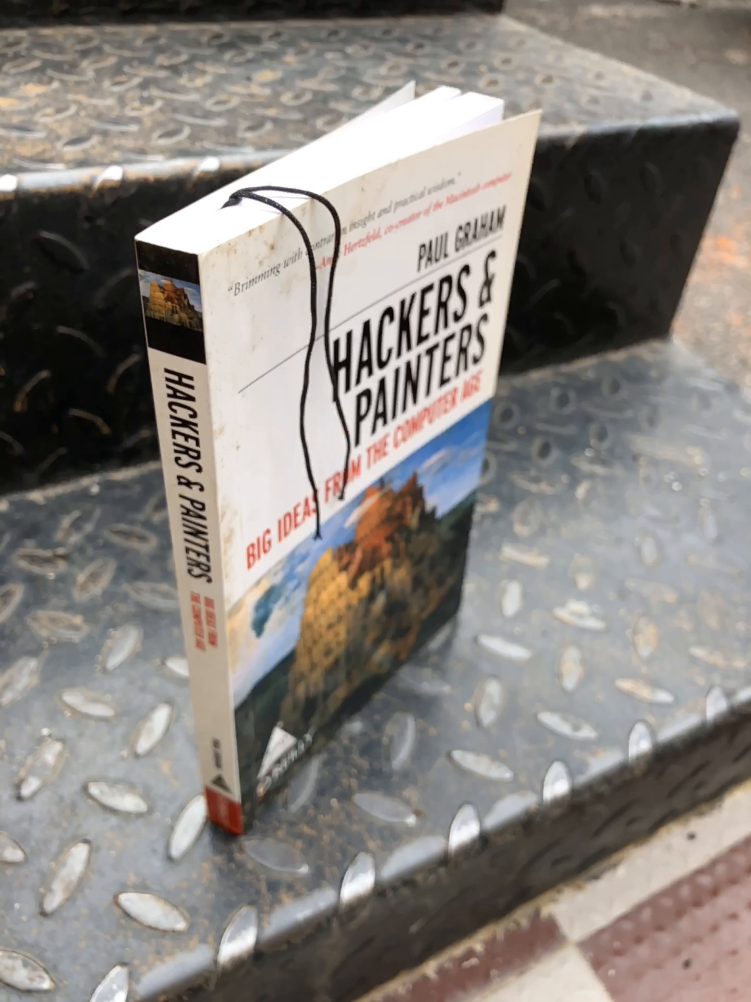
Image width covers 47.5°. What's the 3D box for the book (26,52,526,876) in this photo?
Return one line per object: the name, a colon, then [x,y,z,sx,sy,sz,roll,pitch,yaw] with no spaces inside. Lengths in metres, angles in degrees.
book: [-0.013,-0.008,0.282,0.030,0.219,0.171,22,44,21]
